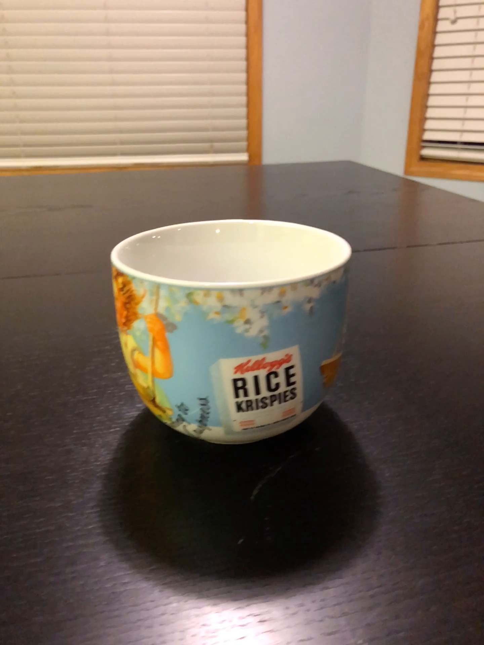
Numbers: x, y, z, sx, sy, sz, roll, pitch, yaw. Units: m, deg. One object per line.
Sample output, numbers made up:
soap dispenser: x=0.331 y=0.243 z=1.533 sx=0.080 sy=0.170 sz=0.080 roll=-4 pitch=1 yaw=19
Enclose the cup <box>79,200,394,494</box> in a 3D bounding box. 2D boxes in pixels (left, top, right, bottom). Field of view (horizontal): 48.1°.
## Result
cup: x=-0.014 y=-0.004 z=0.287 sx=0.120 sy=0.090 sz=0.151 roll=-5 pitch=23 yaw=-11
